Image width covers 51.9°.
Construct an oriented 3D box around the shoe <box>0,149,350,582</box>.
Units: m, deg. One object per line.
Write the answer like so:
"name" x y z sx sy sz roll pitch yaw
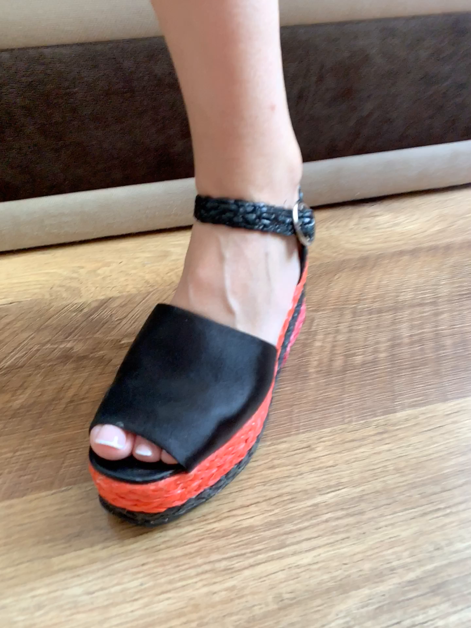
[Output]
"shoe" -0.012 0.007 0.305 0.089 0.124 0.241 16 43 20
